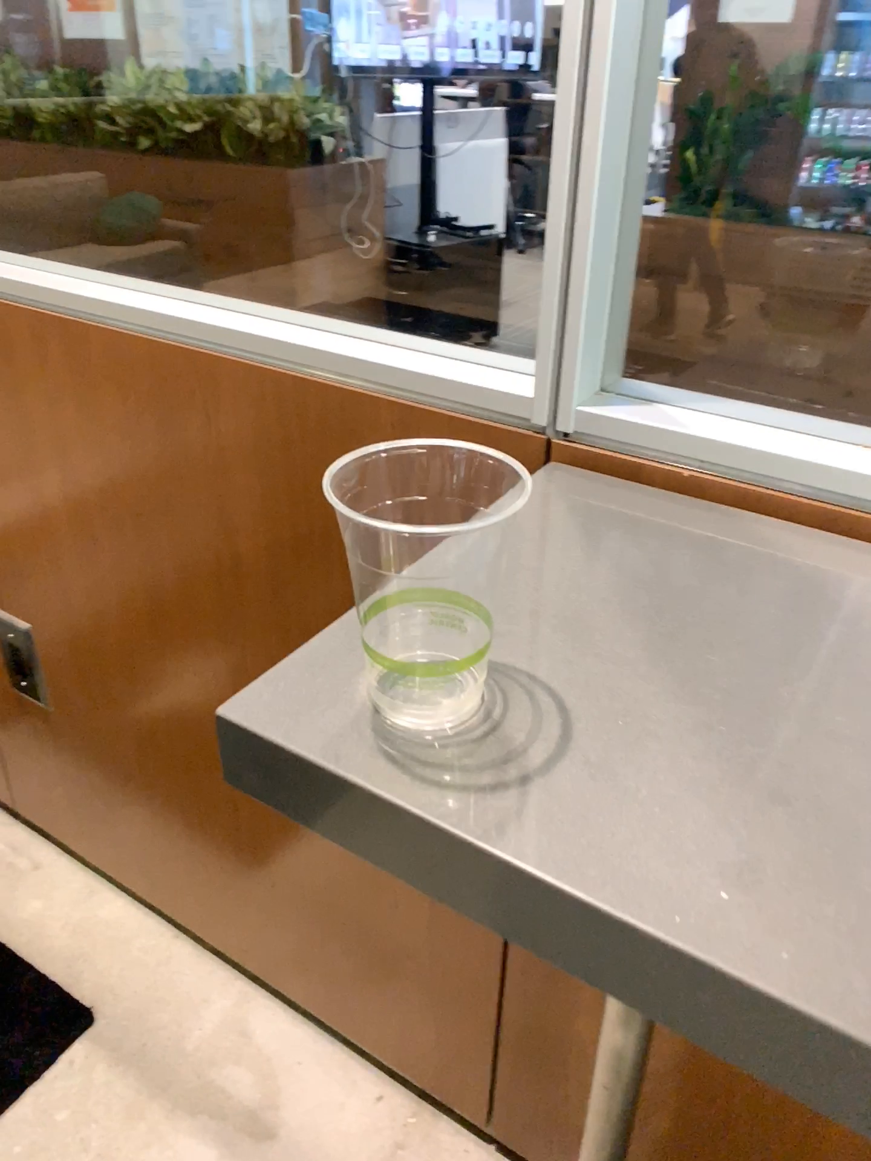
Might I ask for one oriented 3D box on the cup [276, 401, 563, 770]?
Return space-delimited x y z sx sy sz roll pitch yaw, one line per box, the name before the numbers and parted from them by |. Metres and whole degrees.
cup | -0.007 -0.002 0.427 0.090 0.129 0.090 1 30 -1
